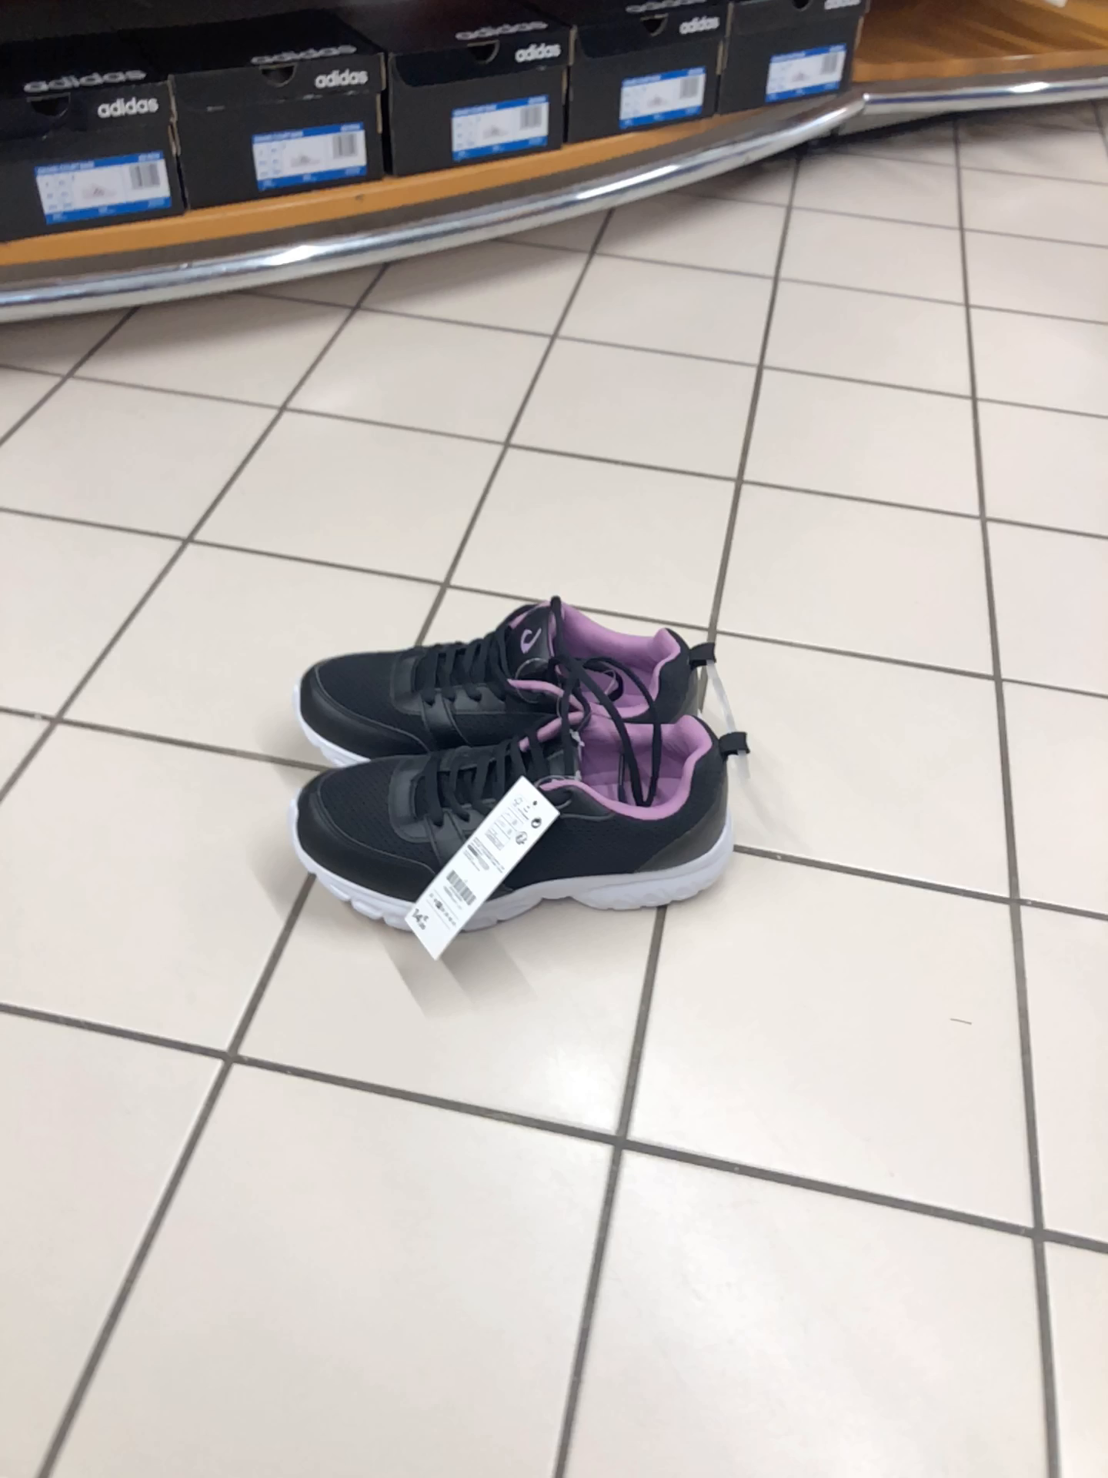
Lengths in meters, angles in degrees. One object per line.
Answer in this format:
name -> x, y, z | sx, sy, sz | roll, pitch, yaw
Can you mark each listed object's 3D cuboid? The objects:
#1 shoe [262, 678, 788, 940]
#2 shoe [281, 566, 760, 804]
shoe -> -0.017, 0.038, 0.672 | 0.260, 0.089, 0.111 | 0, 49, -4
shoe -> -0.021, -0.033, 0.732 | 0.260, 0.089, 0.111 | 0, 45, -4
